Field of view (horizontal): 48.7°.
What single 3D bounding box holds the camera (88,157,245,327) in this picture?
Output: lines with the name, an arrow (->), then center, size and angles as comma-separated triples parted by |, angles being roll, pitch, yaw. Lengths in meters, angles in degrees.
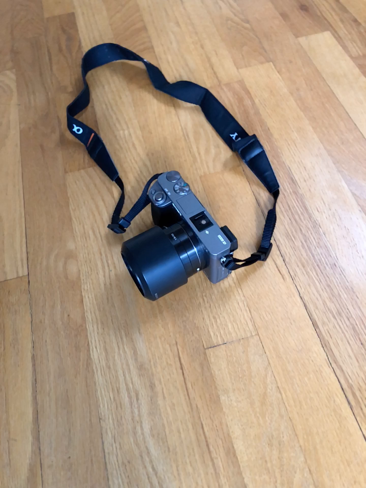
camera -> -0.019, -0.005, 0.444 | 0.106, 0.079, 0.136 | -28, 61, -14
